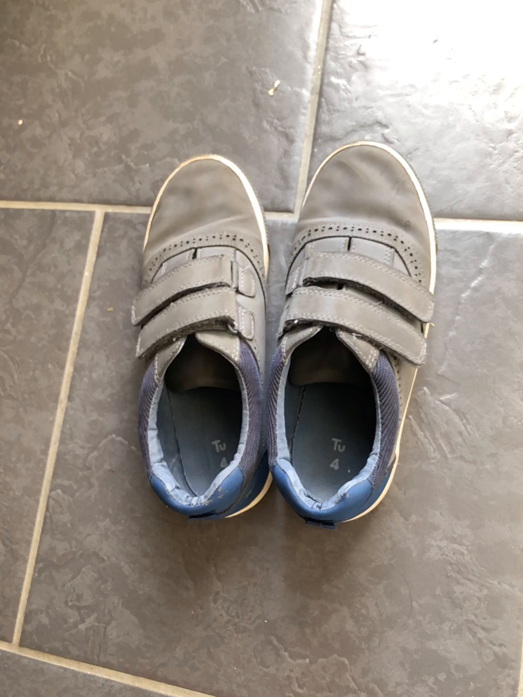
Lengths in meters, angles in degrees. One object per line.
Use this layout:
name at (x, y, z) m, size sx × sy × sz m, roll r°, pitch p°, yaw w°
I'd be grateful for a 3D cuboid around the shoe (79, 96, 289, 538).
shoe at (-0.050, -0.018, 0.369) m, size 0.100 × 0.070 × 0.250 m, roll -8°, pitch 77°, yaw 13°

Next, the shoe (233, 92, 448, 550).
shoe at (0.054, -0.019, 0.356) m, size 0.100 × 0.070 × 0.250 m, roll 3°, pitch 80°, yaw 15°
